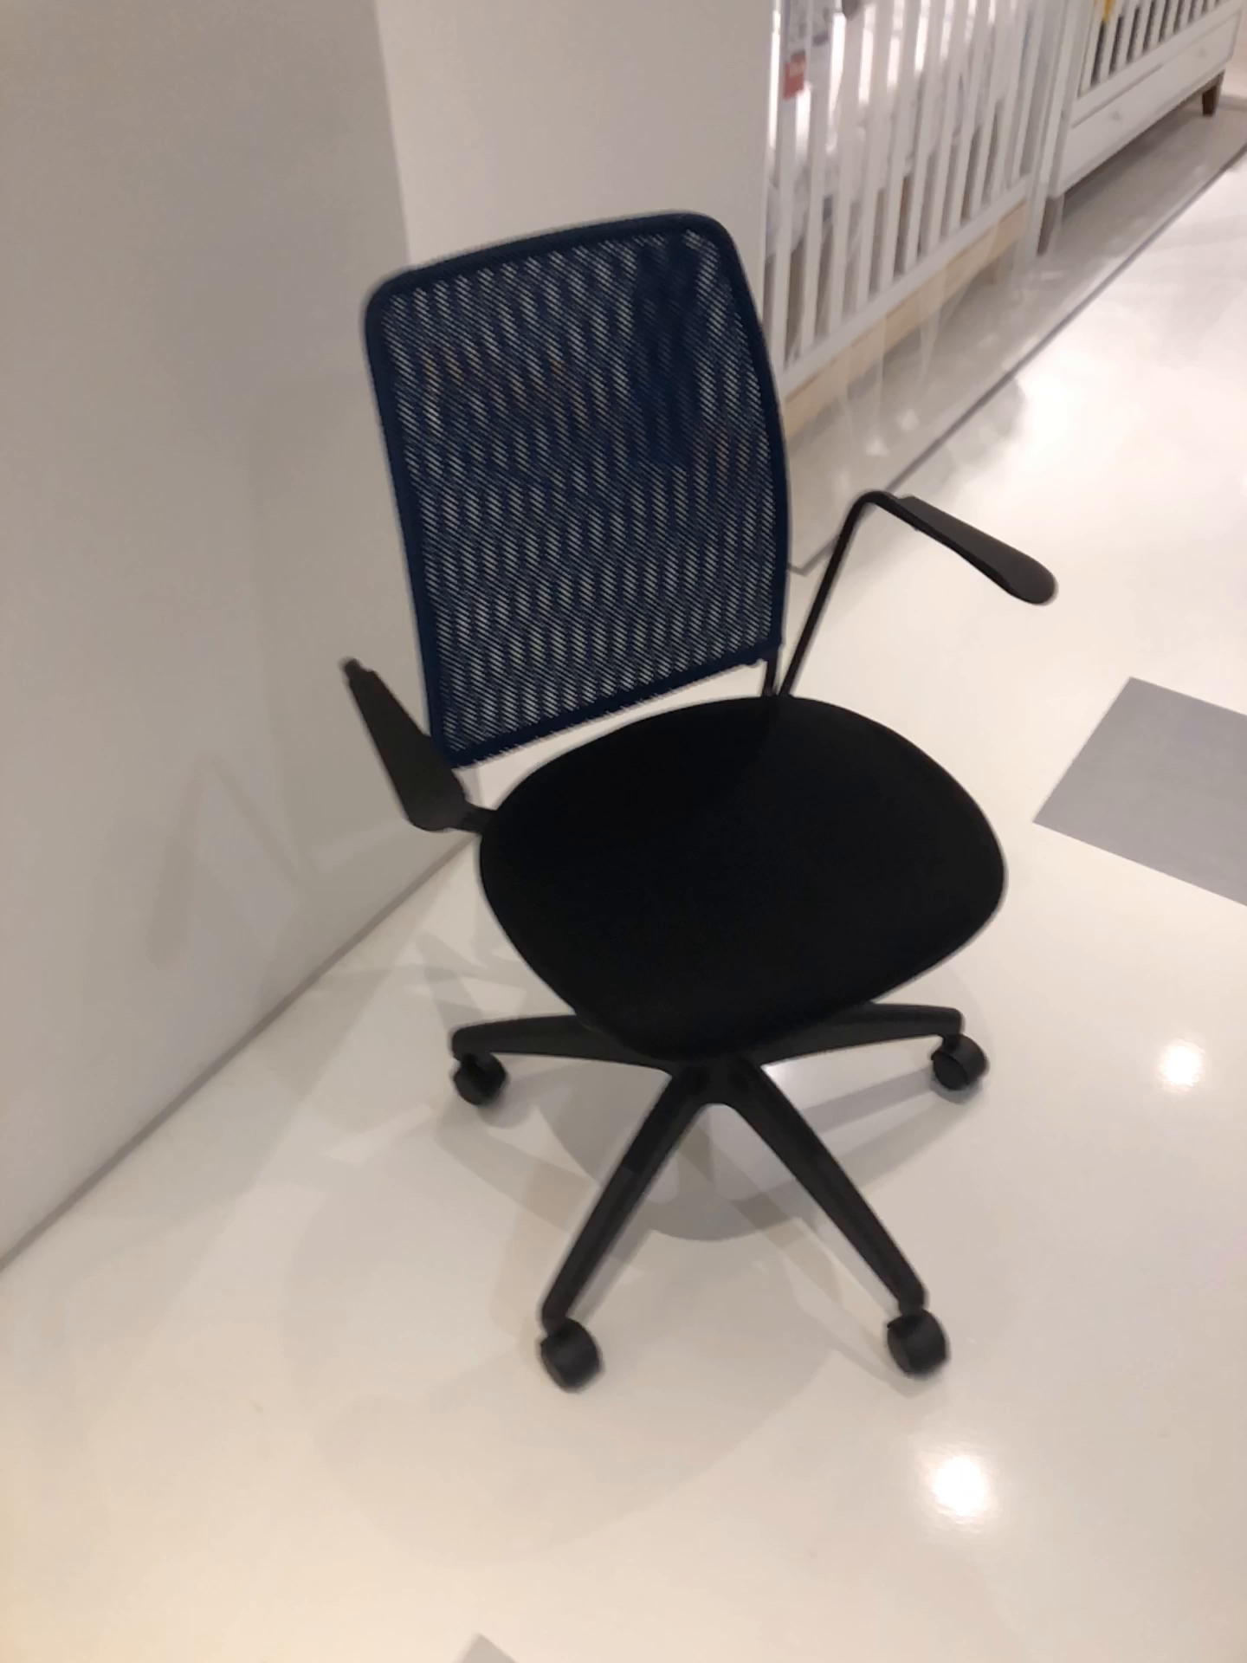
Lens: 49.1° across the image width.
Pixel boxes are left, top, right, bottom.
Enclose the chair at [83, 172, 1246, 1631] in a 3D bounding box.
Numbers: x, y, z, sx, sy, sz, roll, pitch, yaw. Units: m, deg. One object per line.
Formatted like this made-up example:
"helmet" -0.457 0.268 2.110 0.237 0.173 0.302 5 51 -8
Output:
"chair" 0.048 0.045 1.232 0.661 0.923 0.704 -20 45 -19
